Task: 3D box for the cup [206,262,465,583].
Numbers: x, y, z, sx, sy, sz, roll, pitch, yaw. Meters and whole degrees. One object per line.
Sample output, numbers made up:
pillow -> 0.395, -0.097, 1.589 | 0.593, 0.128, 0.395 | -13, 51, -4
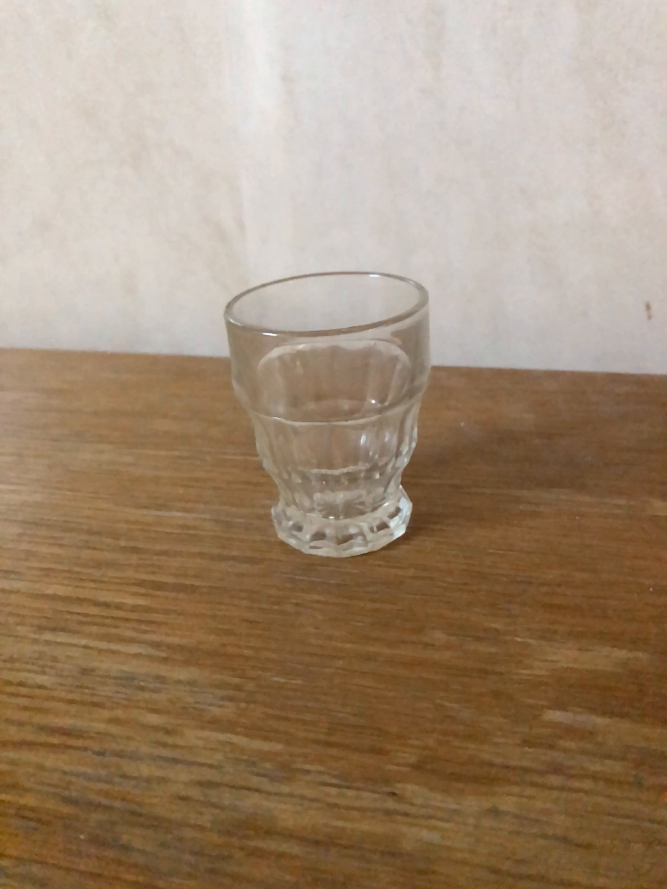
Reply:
cup -> 0.000, -0.009, 0.215 | 0.060, 0.070, 0.060 | -2, 27, 1
